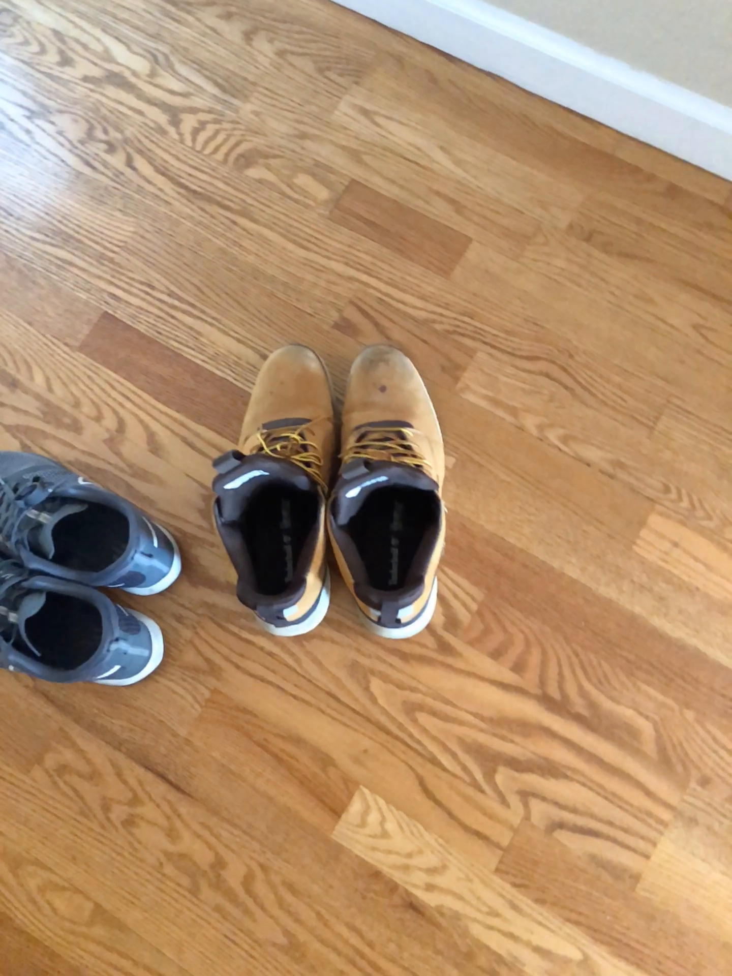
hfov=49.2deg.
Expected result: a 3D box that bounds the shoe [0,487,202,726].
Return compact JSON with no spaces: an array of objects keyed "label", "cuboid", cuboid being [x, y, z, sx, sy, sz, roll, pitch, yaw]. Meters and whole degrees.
[{"label":"shoe","cuboid":[-0.356,0.122,0.830,0.320,0.100,0.140,17,79,8]}]

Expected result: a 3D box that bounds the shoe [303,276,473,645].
[{"label":"shoe","cuboid":[0.020,-0.018,0.767,0.130,0.140,0.320,-4,77,3]}]

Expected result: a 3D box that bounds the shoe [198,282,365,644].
[{"label":"shoe","cuboid":[-0.080,-0.016,0.780,0.130,0.140,0.320,-4,77,3]}]

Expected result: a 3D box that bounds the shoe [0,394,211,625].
[{"label":"shoe","cuboid":[-0.355,0.024,0.854,0.330,0.100,0.140,17,79,8]}]
